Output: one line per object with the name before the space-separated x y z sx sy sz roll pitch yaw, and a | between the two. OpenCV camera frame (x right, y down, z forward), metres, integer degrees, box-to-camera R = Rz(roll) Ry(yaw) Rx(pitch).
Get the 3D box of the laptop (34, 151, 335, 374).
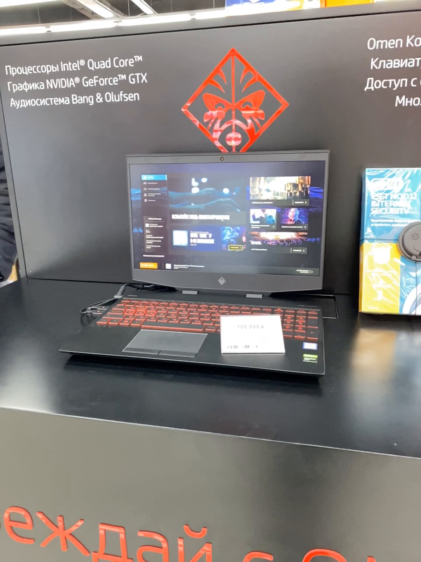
laptop | -0.010 -0.063 0.665 0.358 0.247 0.302 2 18 12
